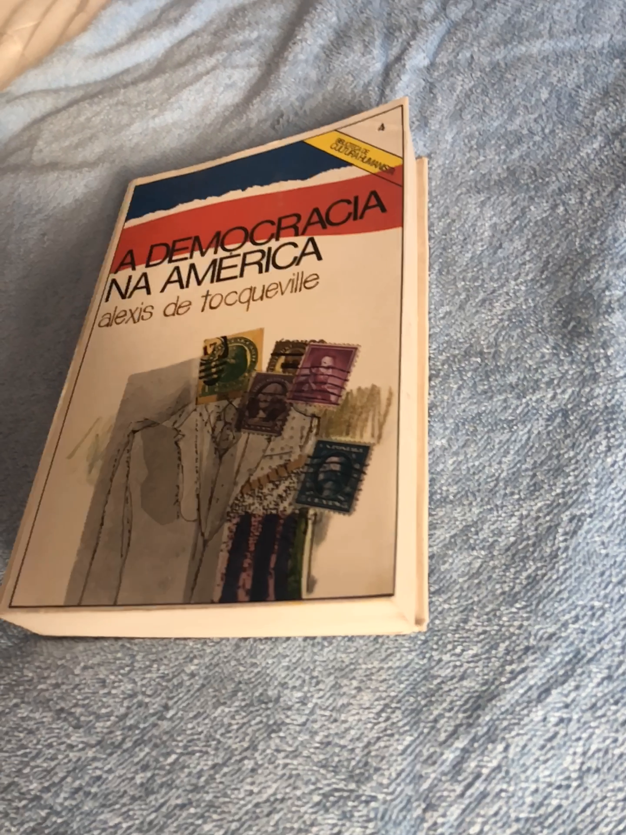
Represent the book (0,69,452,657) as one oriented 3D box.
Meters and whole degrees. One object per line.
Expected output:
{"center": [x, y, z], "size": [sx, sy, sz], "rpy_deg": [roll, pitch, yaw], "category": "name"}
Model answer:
{"center": [-0.026, -0.022, 0.257], "size": [0.140, 0.050, 0.201], "rpy_deg": [-6, 61, 20], "category": "book"}
